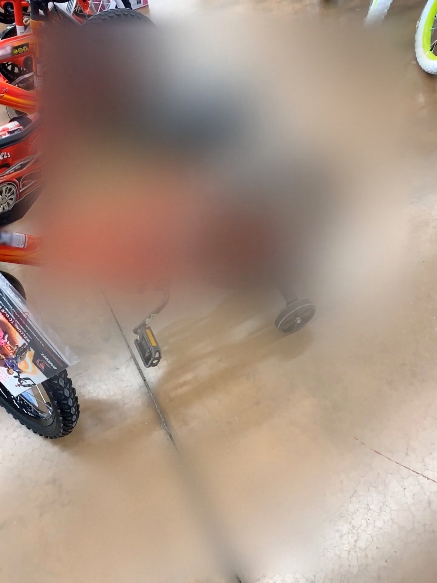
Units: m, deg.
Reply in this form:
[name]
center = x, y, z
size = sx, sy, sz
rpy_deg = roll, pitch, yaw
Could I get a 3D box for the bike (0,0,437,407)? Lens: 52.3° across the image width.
[bike]
center = -0.225, -0.235, 1.002
size = 0.994, 0.821, 0.504
rpy_deg = -22, 57, -2
